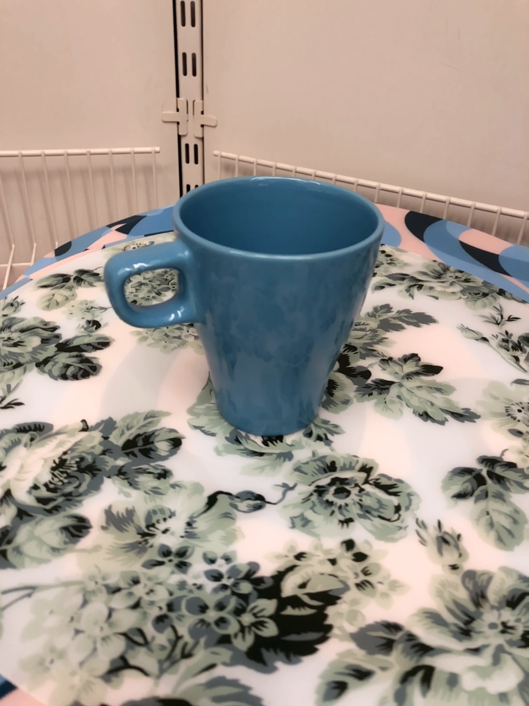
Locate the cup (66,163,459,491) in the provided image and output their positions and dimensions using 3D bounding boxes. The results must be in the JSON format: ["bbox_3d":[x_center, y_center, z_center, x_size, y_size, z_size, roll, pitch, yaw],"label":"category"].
[{"bbox_3d":[-0.004,-0.022,0.243,0.120,0.080,0.090,-15,36,-27],"label":"cup"}]
